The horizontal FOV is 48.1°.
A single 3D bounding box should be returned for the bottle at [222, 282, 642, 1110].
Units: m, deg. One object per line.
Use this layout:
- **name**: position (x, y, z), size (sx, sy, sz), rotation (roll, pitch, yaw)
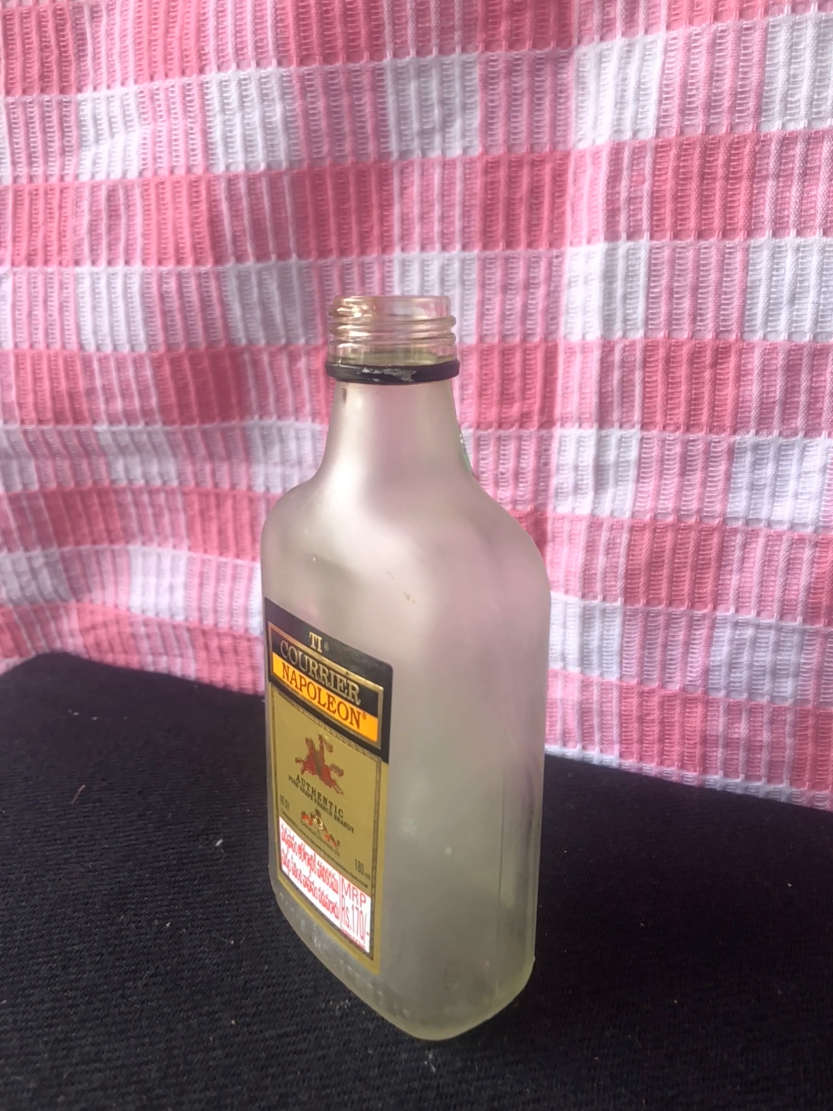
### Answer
- **bottle**: position (-0.002, 0.023, 0.190), size (0.040, 0.149, 0.070), rotation (-13, 22, -38)
